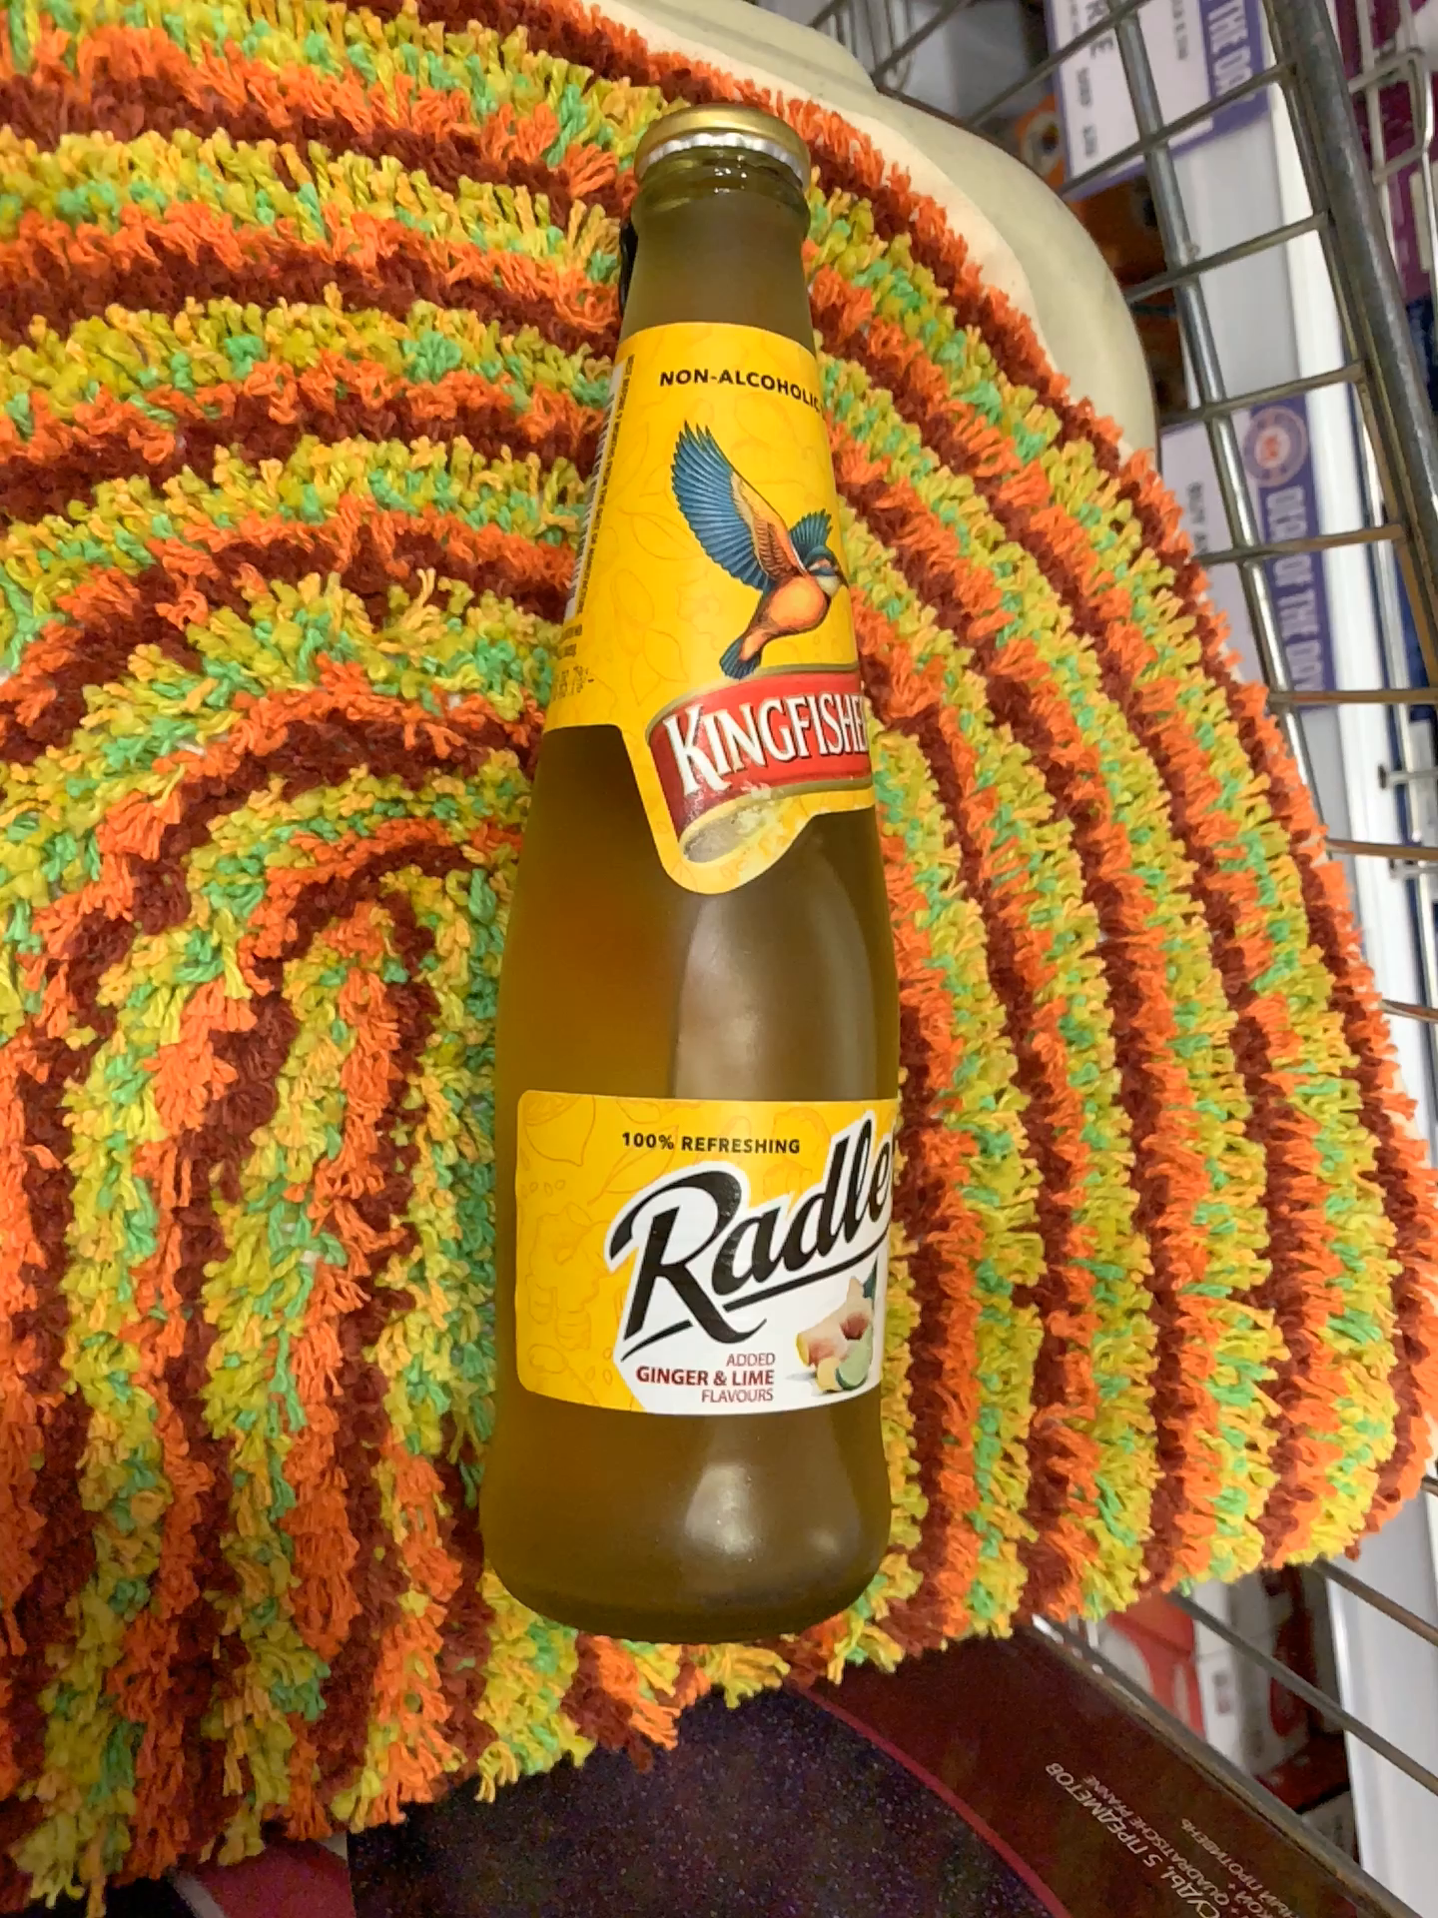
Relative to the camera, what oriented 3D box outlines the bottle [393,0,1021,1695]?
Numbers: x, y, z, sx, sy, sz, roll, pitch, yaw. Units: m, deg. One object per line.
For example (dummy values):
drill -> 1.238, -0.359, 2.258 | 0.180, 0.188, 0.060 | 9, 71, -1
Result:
bottle -> -0.003, -0.024, 0.214 | 0.060, 0.060, 0.220 | 4, 87, -28
